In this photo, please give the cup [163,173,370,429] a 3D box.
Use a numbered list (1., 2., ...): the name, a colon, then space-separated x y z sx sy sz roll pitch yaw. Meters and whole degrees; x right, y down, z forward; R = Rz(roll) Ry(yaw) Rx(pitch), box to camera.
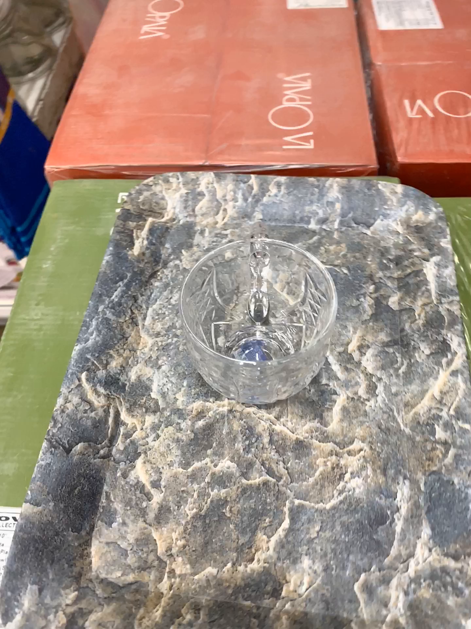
1. cup: 0.010 -0.006 0.244 0.080 0.070 0.100 -5 57 0
